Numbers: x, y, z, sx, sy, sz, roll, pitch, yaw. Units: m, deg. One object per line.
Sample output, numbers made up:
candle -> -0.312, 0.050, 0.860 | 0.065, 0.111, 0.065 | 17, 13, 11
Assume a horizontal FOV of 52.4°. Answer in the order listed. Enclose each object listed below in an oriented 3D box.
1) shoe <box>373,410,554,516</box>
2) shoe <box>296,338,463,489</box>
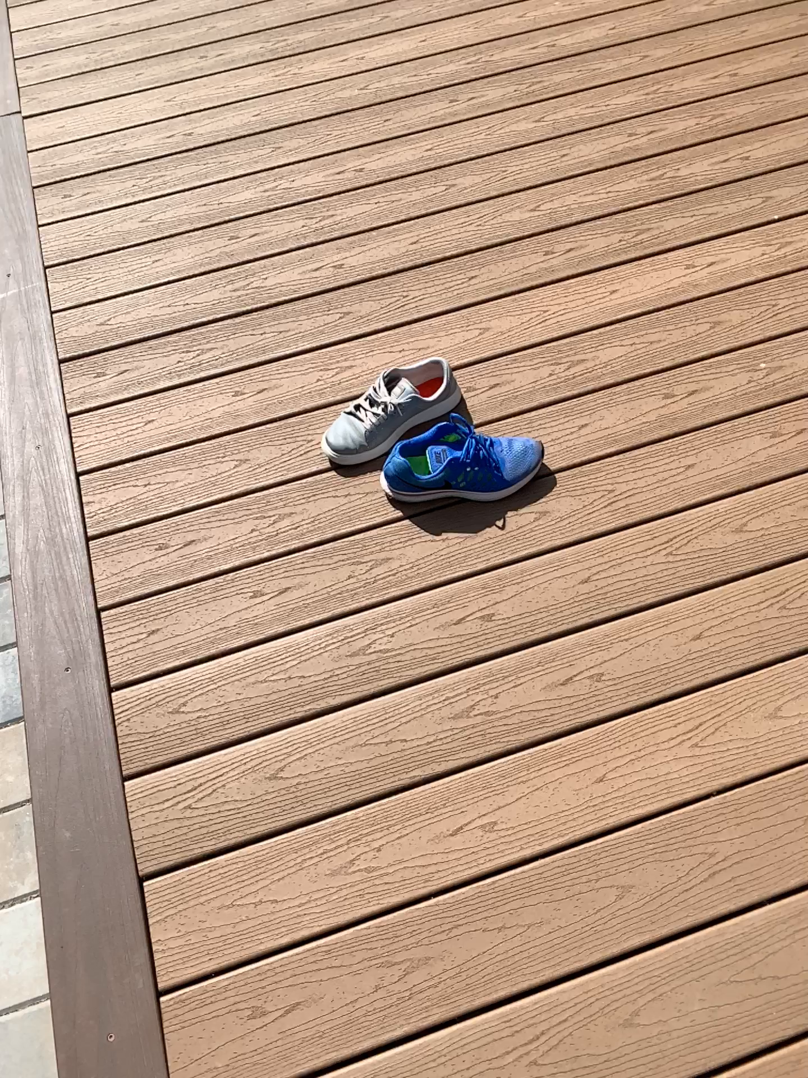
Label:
shoe -> 0.096, -0.126, 1.371 | 0.280, 0.090, 0.110 | -7, 59, 0
shoe -> -0.038, -0.227, 1.481 | 0.280, 0.110, 0.110 | -32, 62, -15
